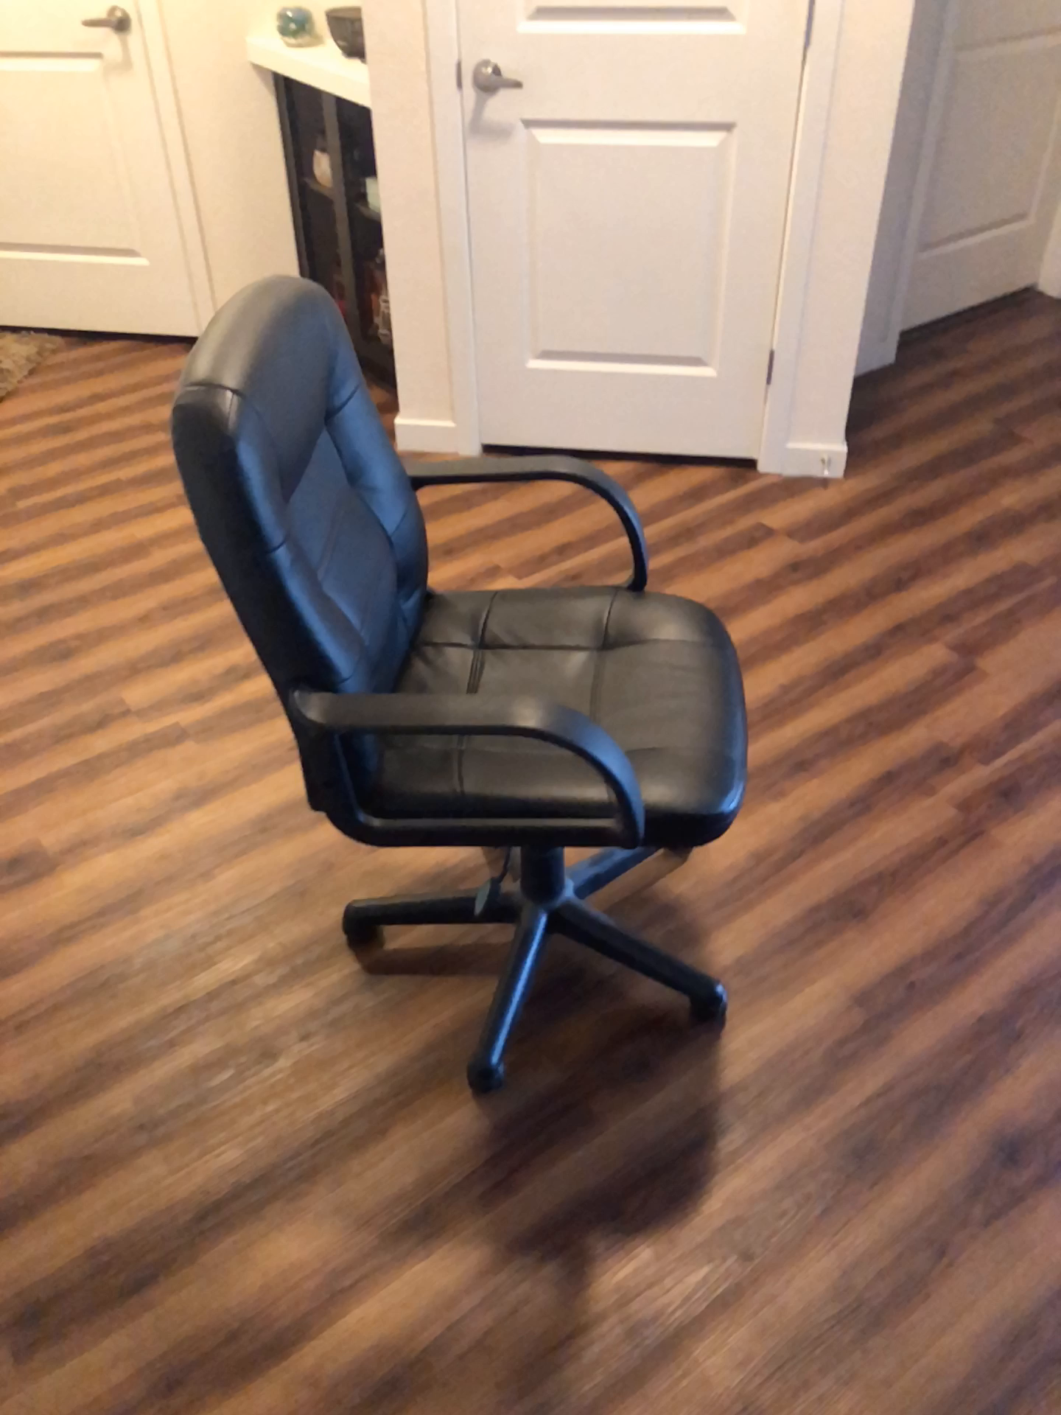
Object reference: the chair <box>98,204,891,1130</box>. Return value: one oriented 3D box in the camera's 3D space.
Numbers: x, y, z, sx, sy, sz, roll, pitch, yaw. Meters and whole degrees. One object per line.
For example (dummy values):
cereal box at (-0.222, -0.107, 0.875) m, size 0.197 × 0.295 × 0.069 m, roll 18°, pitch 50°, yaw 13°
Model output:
chair at (-0.008, -0.038, 1.552) m, size 0.667 × 1.012 × 0.666 m, roll 2°, pitch 39°, yaw 3°
